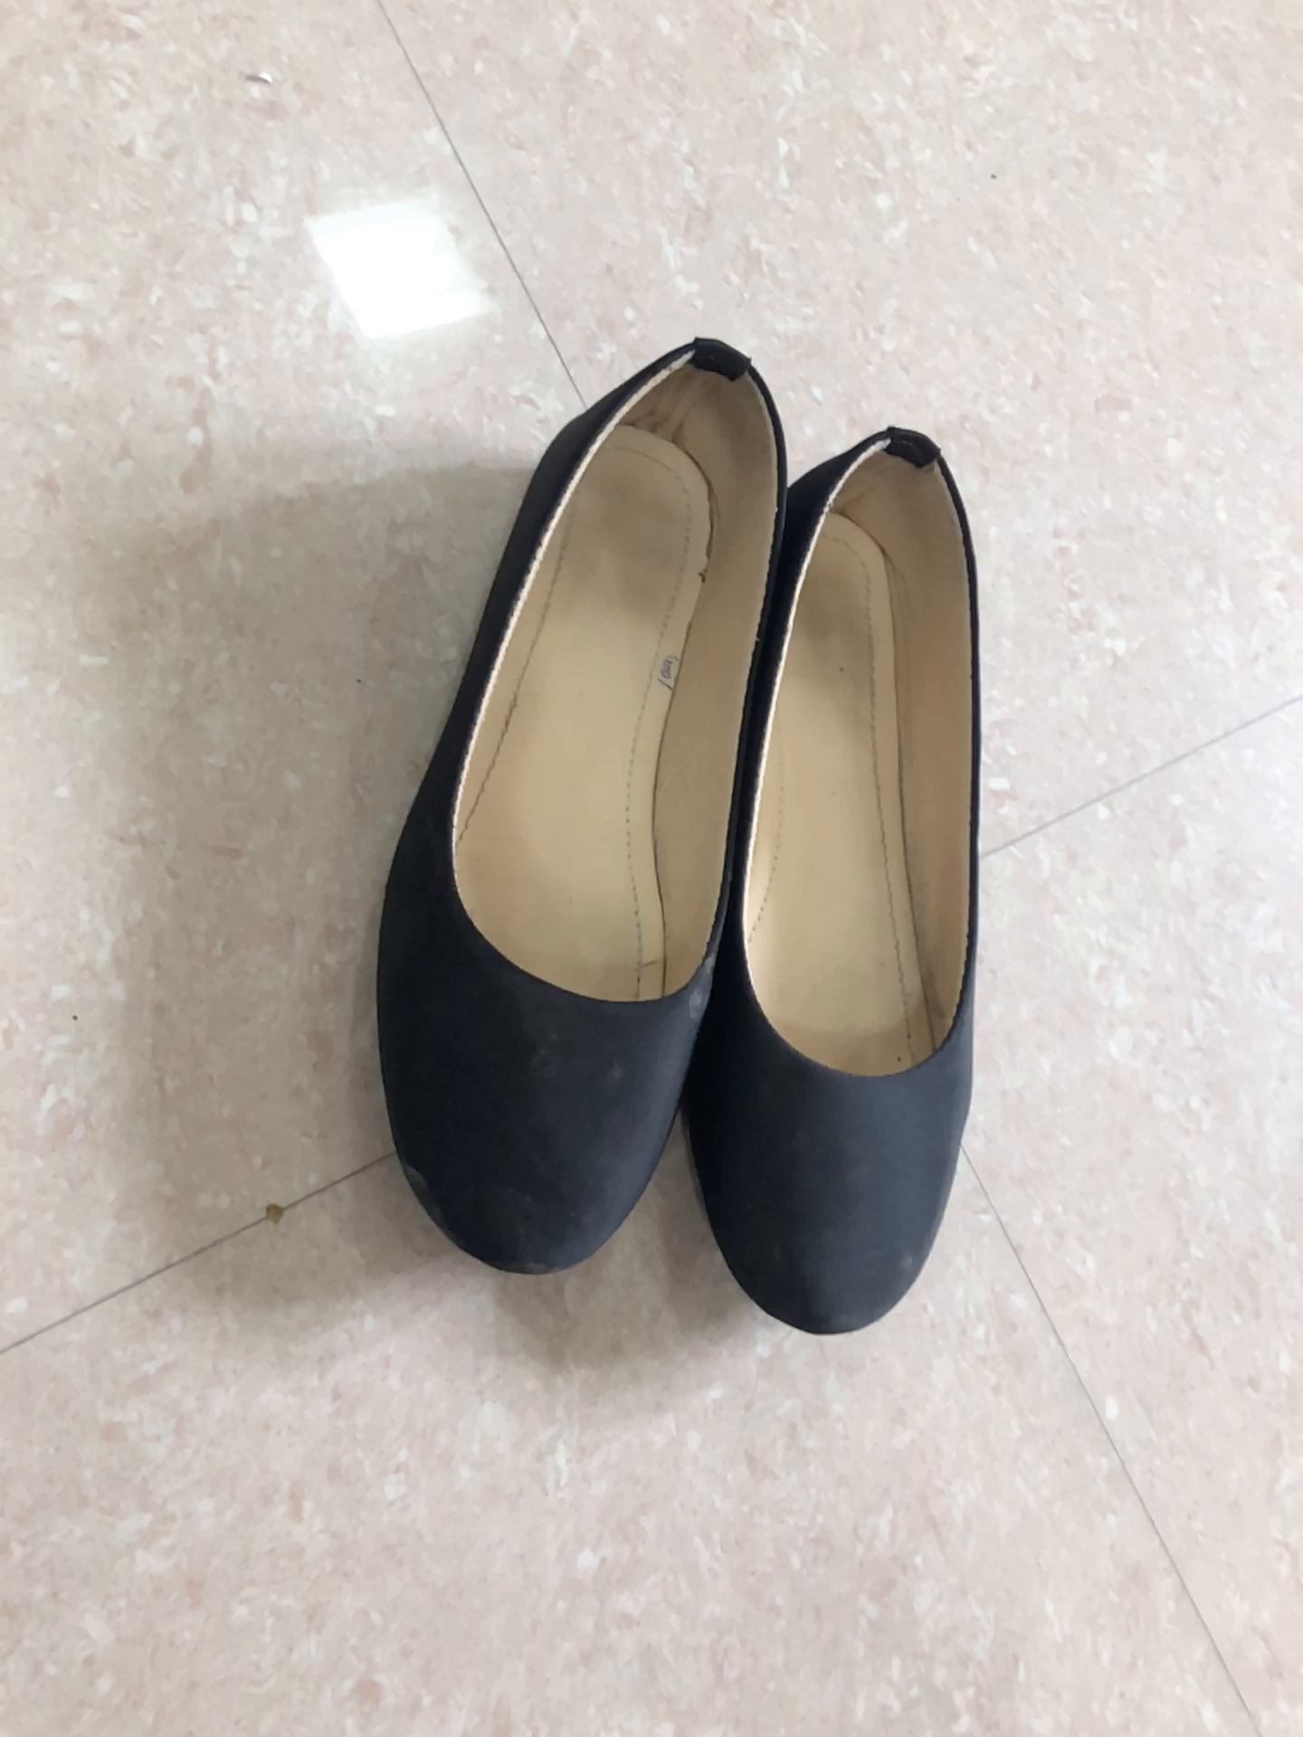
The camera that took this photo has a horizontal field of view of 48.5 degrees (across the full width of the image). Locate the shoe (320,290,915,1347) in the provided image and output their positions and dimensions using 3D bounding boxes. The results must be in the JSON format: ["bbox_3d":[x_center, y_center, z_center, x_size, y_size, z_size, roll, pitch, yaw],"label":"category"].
[{"bbox_3d":[-0.004,-0.011,0.367,0.092,0.075,0.239,16,69,-18],"label":"shoe"}]

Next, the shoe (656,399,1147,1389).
[{"bbox_3d":[0.066,0.009,0.389,0.092,0.075,0.239,11,71,-20],"label":"shoe"}]
